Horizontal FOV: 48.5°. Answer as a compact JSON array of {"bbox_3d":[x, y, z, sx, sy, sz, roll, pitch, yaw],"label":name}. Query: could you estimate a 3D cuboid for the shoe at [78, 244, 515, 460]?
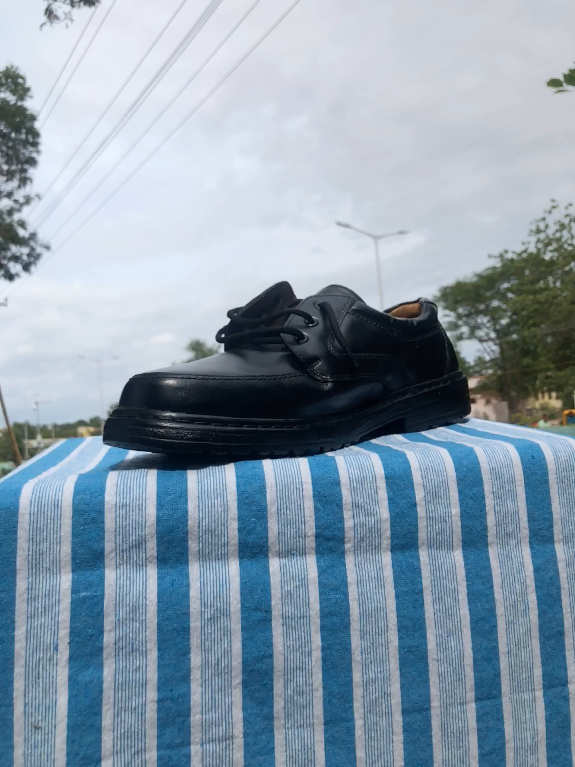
[{"bbox_3d":[0.023,-0.015,0.431,0.291,0.100,0.110,-1,-2,-41],"label":"shoe"}]
